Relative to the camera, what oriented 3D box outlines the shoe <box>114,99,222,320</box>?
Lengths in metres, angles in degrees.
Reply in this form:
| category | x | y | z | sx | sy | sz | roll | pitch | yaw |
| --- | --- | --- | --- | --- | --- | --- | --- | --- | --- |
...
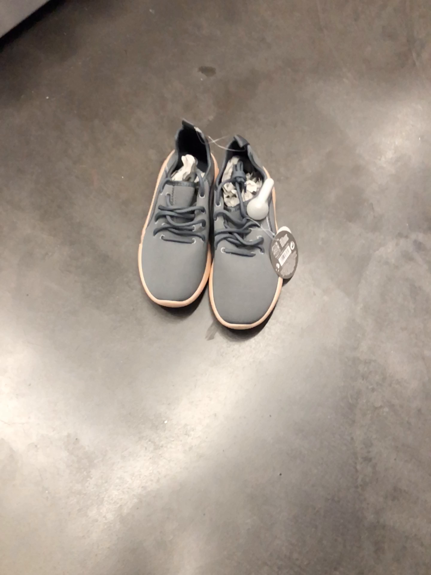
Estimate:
| category | x | y | z | sx | sy | sz | roll | pitch | yaw |
| --- | --- | --- | --- | --- | --- | --- | --- | --- | --- |
| shoe | -0.047 | -0.094 | 0.569 | 0.090 | 0.100 | 0.241 | 4 | 65 | 1 |

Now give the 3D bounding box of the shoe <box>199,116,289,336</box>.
| category | x | y | z | sx | sy | sz | roll | pitch | yaw |
| --- | --- | --- | --- | --- | --- | --- | --- | --- | --- |
| shoe | 0.034 | -0.074 | 0.567 | 0.090 | 0.100 | 0.241 | 3 | 65 | 1 |
